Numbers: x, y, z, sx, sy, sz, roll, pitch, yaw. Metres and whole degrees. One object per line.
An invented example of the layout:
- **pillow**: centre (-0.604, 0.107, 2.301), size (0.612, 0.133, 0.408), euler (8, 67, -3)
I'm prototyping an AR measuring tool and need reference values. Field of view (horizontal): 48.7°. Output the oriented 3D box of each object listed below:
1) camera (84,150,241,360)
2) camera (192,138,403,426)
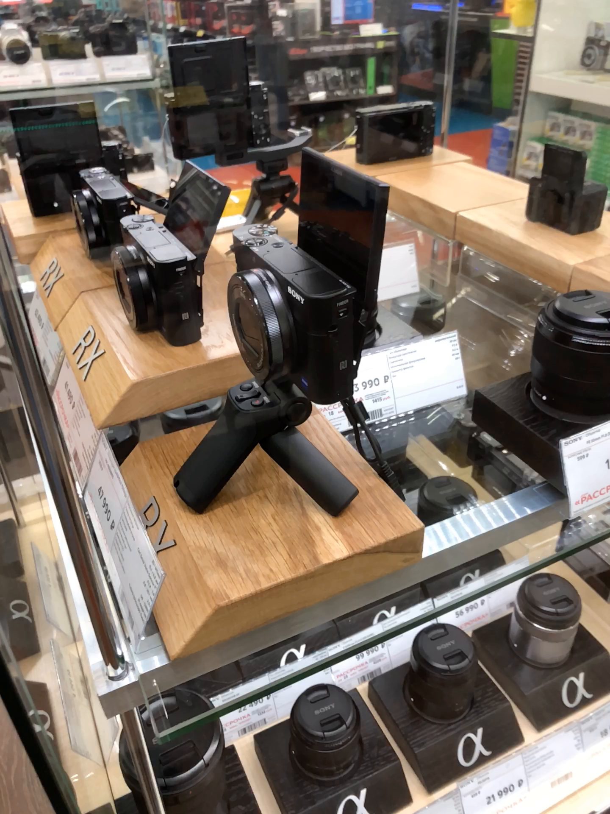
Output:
- **camera**: centre (-0.096, -0.106, 0.456), size (0.065, 0.102, 0.103), euler (-16, 36, -21)
- **camera**: centre (-0.007, -0.066, 0.334), size (0.057, 0.102, 0.103), euler (-16, 36, -21)
